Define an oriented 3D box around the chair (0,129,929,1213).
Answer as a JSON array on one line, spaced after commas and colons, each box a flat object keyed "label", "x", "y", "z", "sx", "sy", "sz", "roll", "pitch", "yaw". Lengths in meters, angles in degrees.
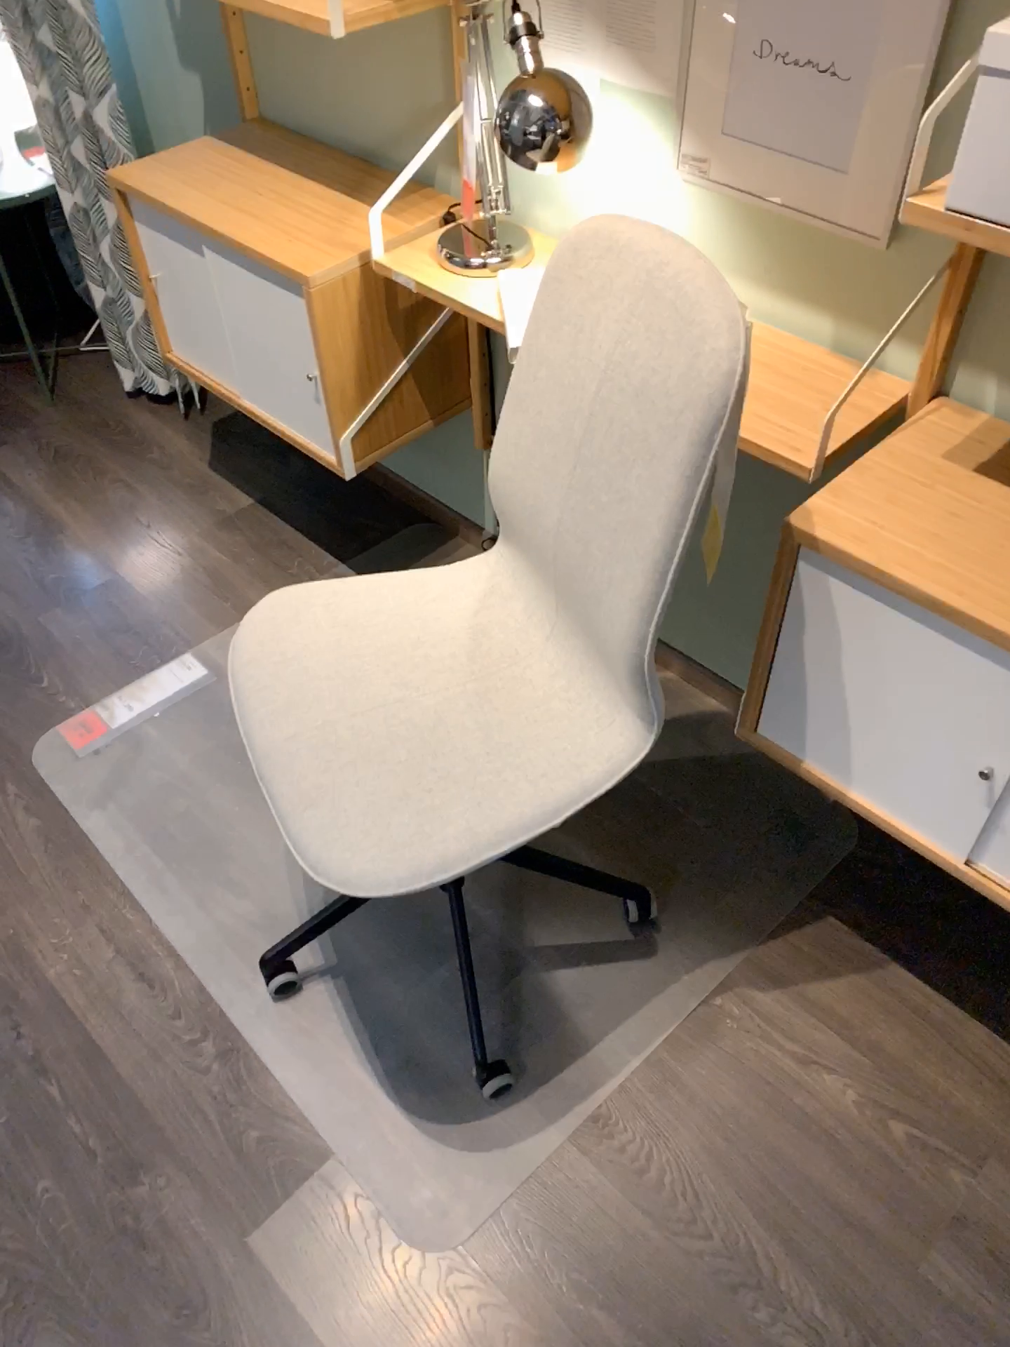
[{"label": "chair", "x": -0.105, "y": 0.028, "z": 1.285, "sx": 0.670, "sy": 1.016, "sz": 0.672, "roll": -21, "pitch": 50, "yaw": -18}]
